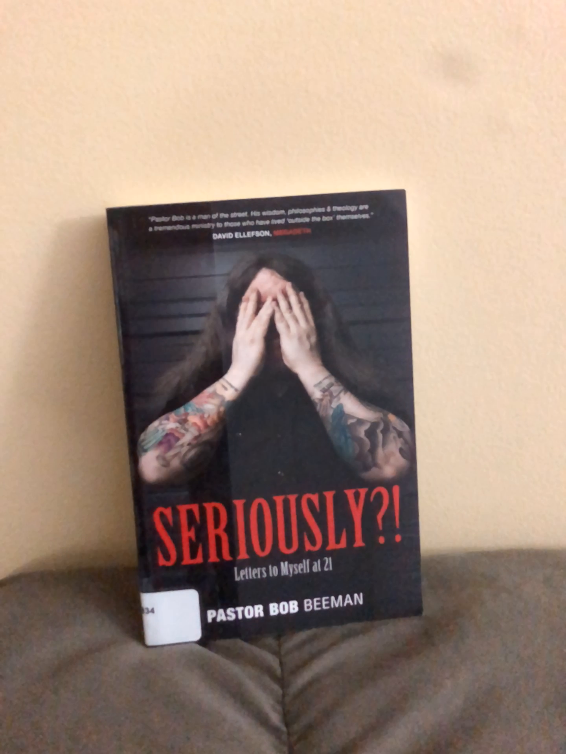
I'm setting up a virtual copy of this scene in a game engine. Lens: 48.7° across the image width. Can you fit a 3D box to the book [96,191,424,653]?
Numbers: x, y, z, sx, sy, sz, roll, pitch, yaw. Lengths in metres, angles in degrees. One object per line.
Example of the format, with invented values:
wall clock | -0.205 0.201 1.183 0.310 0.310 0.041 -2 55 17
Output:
book | -0.007 0.021 0.300 0.136 0.205 0.023 -5 7 -6
